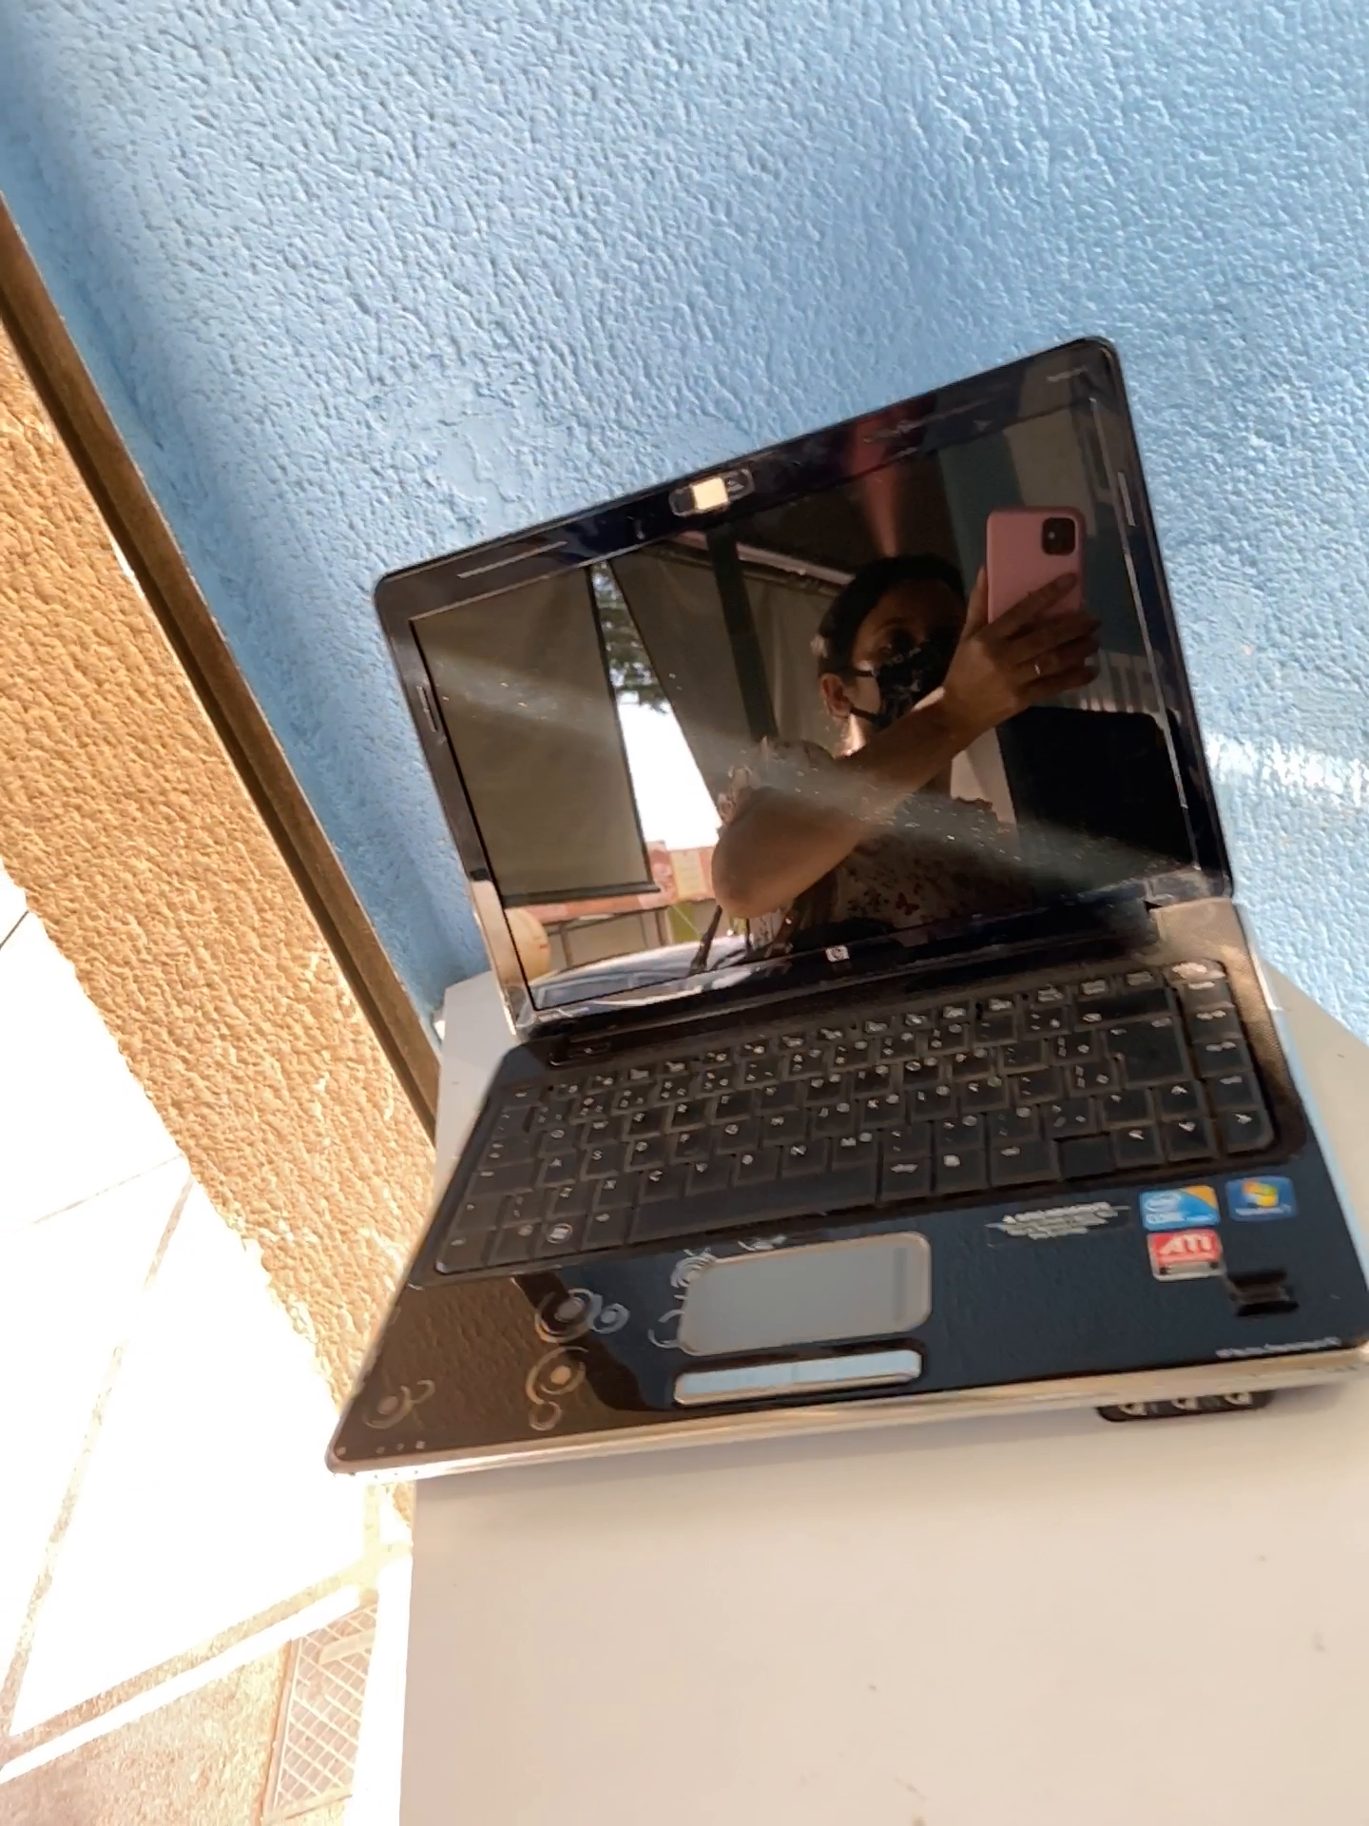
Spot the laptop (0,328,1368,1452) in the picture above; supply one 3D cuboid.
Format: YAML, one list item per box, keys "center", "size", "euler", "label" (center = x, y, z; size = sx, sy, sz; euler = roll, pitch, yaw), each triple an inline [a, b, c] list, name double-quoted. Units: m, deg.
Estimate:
- center: [0.021, -0.023, 0.500]
  size: [0.321, 0.211, 0.303]
  euler: [-13, 26, 18]
  label: "laptop"
